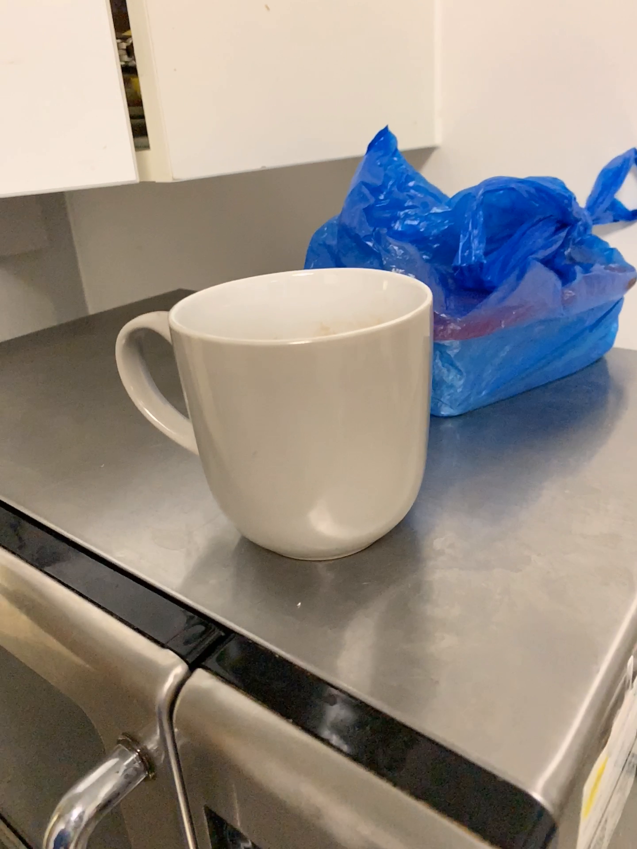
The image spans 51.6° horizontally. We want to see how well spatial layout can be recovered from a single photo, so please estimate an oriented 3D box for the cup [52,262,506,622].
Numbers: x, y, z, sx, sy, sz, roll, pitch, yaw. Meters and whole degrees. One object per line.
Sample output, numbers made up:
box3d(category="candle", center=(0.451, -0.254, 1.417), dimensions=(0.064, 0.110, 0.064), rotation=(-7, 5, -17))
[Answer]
box3d(category="cup", center=(-0.012, -0.009, 0.244), dimensions=(0.129, 0.077, 0.094), rotation=(13, 31, 36))
